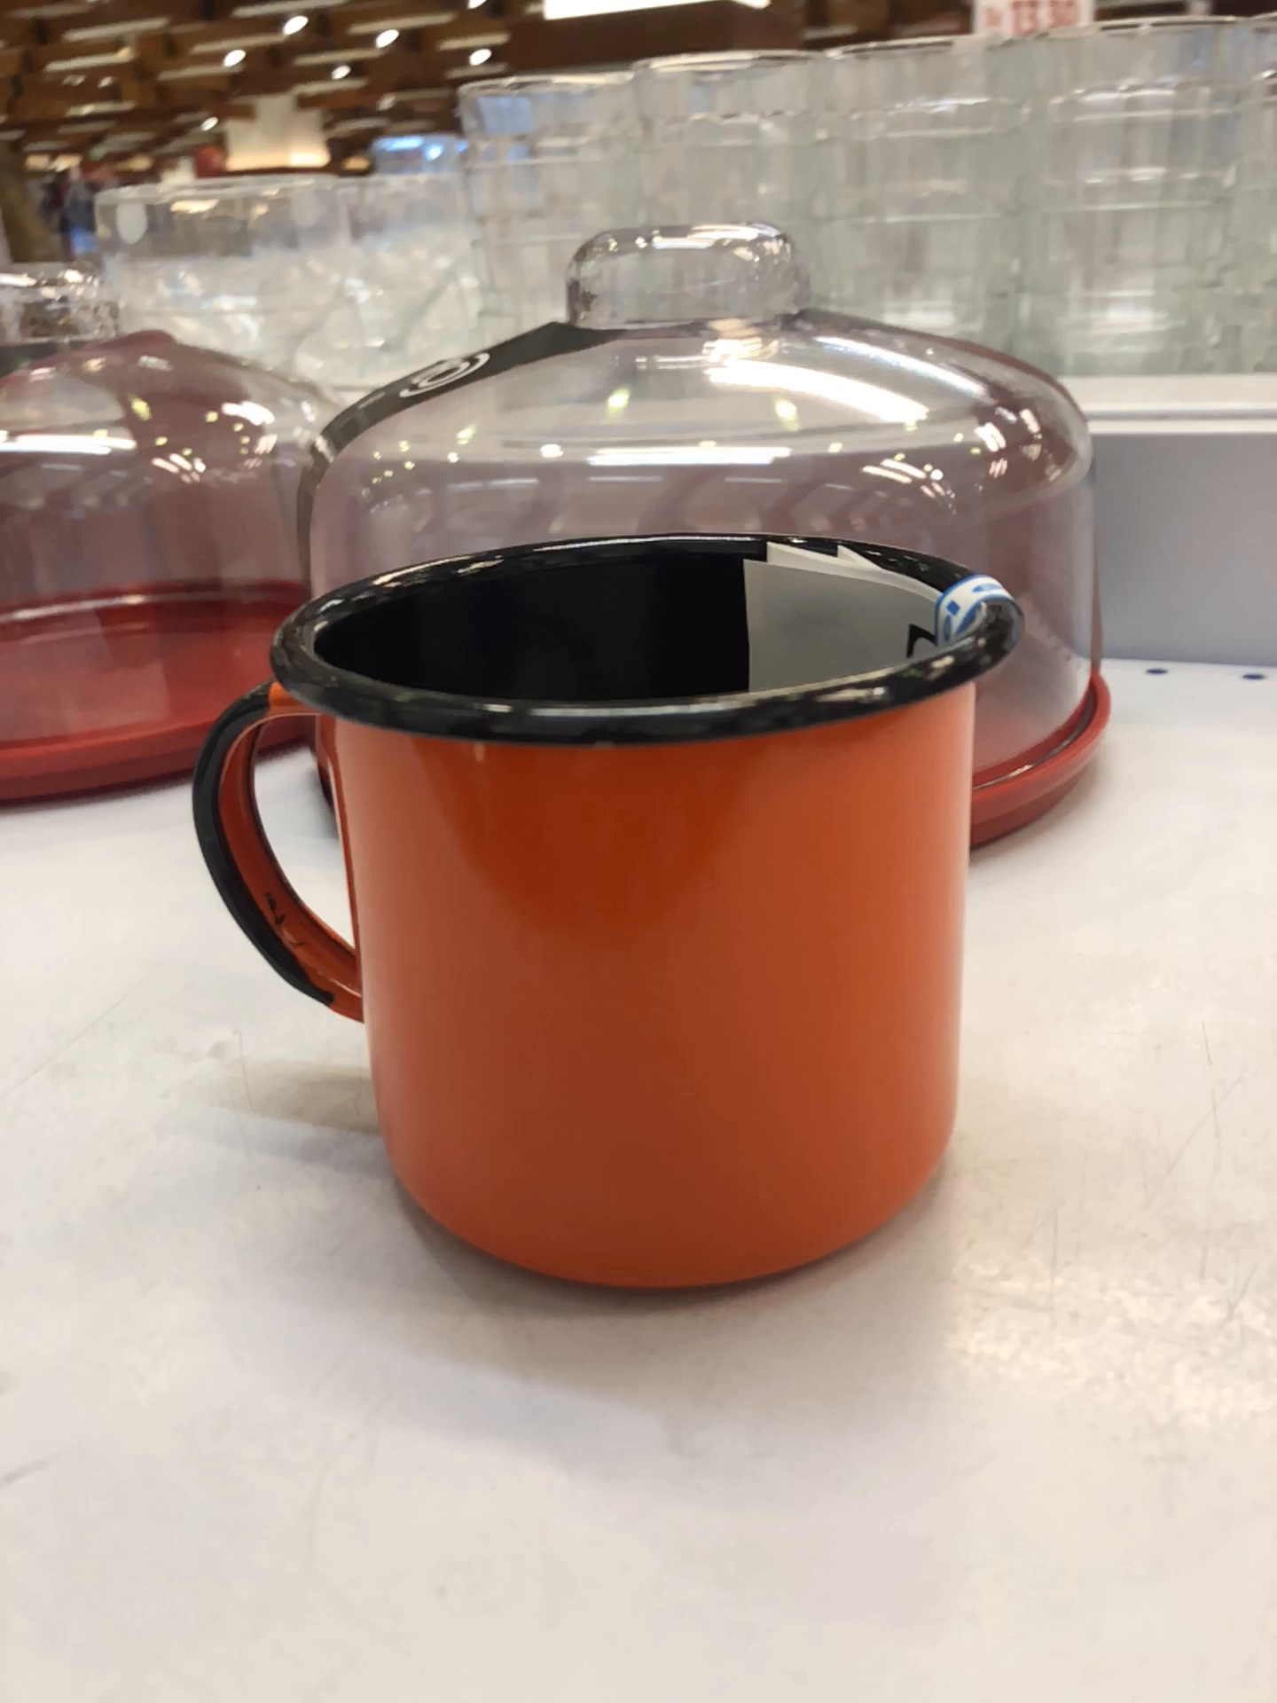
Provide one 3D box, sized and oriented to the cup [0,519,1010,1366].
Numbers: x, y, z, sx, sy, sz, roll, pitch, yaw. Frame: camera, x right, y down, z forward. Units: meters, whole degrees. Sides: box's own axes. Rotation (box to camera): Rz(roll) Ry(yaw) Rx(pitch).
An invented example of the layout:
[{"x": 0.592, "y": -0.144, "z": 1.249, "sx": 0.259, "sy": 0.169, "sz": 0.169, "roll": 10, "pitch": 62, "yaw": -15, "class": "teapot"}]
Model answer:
[{"x": -0.014, "y": 0.000, "z": 0.185, "sx": 0.110, "sy": 0.070, "sz": 0.080, "roll": 5, "pitch": 25, "yaw": 19, "class": "cup"}]
